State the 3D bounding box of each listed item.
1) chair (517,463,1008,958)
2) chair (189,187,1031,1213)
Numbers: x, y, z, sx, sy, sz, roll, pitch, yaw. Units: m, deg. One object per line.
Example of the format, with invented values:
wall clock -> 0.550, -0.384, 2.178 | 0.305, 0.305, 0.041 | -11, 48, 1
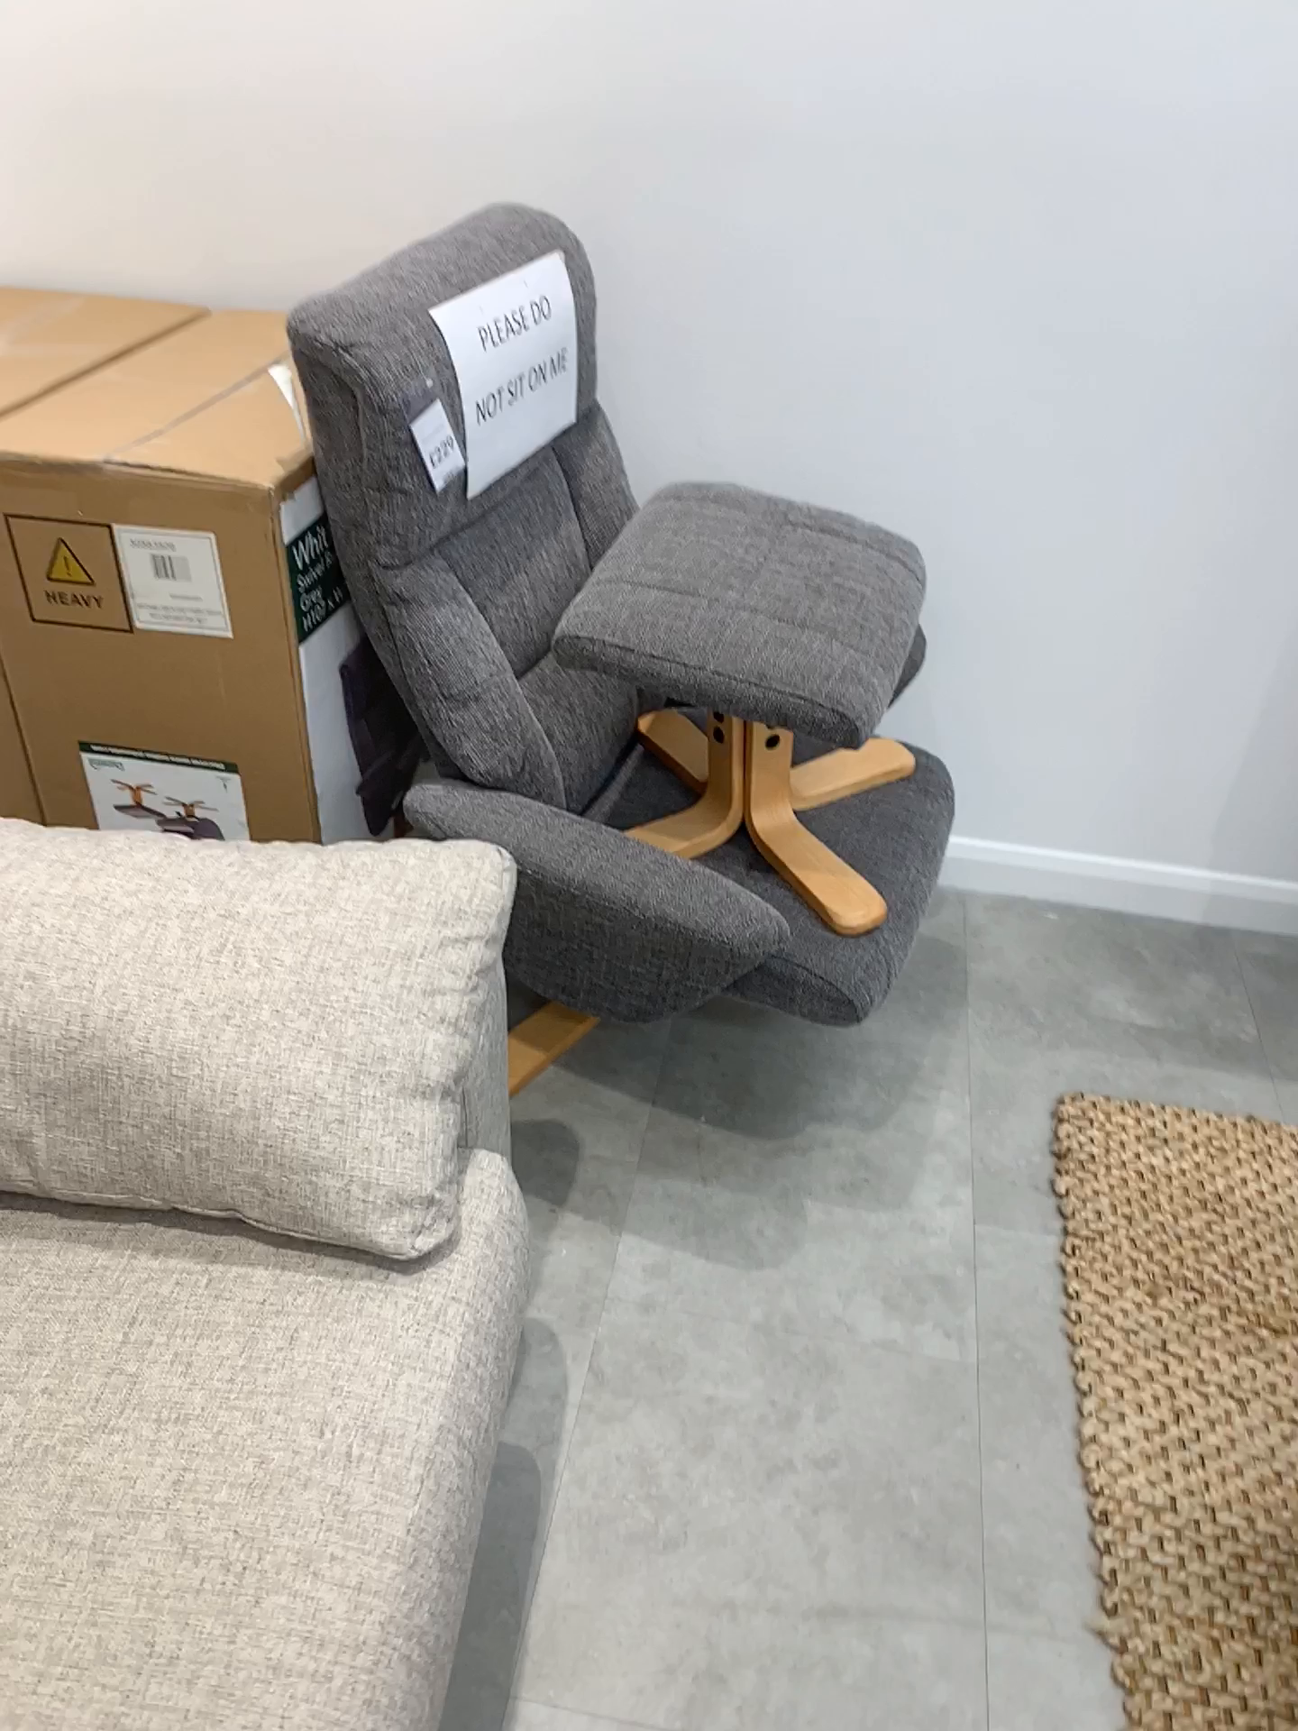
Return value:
chair -> 0.151, -0.219, 1.638 | 0.480, 0.351, 0.486 | 11, 36, 12
chair -> 0.007, -0.238, 1.677 | 0.720, 0.975, 0.708 | 11, 36, 11
